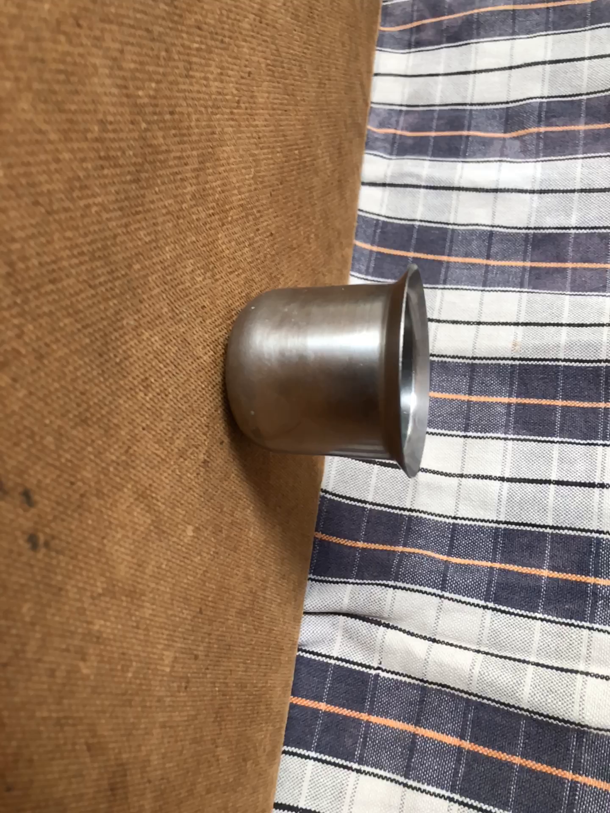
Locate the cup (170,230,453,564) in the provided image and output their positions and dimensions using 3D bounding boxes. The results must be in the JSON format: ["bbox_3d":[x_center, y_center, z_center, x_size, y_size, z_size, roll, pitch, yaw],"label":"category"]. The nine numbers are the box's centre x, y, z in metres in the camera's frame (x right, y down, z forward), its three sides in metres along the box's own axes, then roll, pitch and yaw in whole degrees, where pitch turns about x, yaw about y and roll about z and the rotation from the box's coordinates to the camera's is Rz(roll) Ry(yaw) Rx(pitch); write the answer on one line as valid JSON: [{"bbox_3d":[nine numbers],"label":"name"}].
[{"bbox_3d":[0.010,-0.005,0.208,0.070,0.060,0.070,1,90,-72],"label":"cup"}]
